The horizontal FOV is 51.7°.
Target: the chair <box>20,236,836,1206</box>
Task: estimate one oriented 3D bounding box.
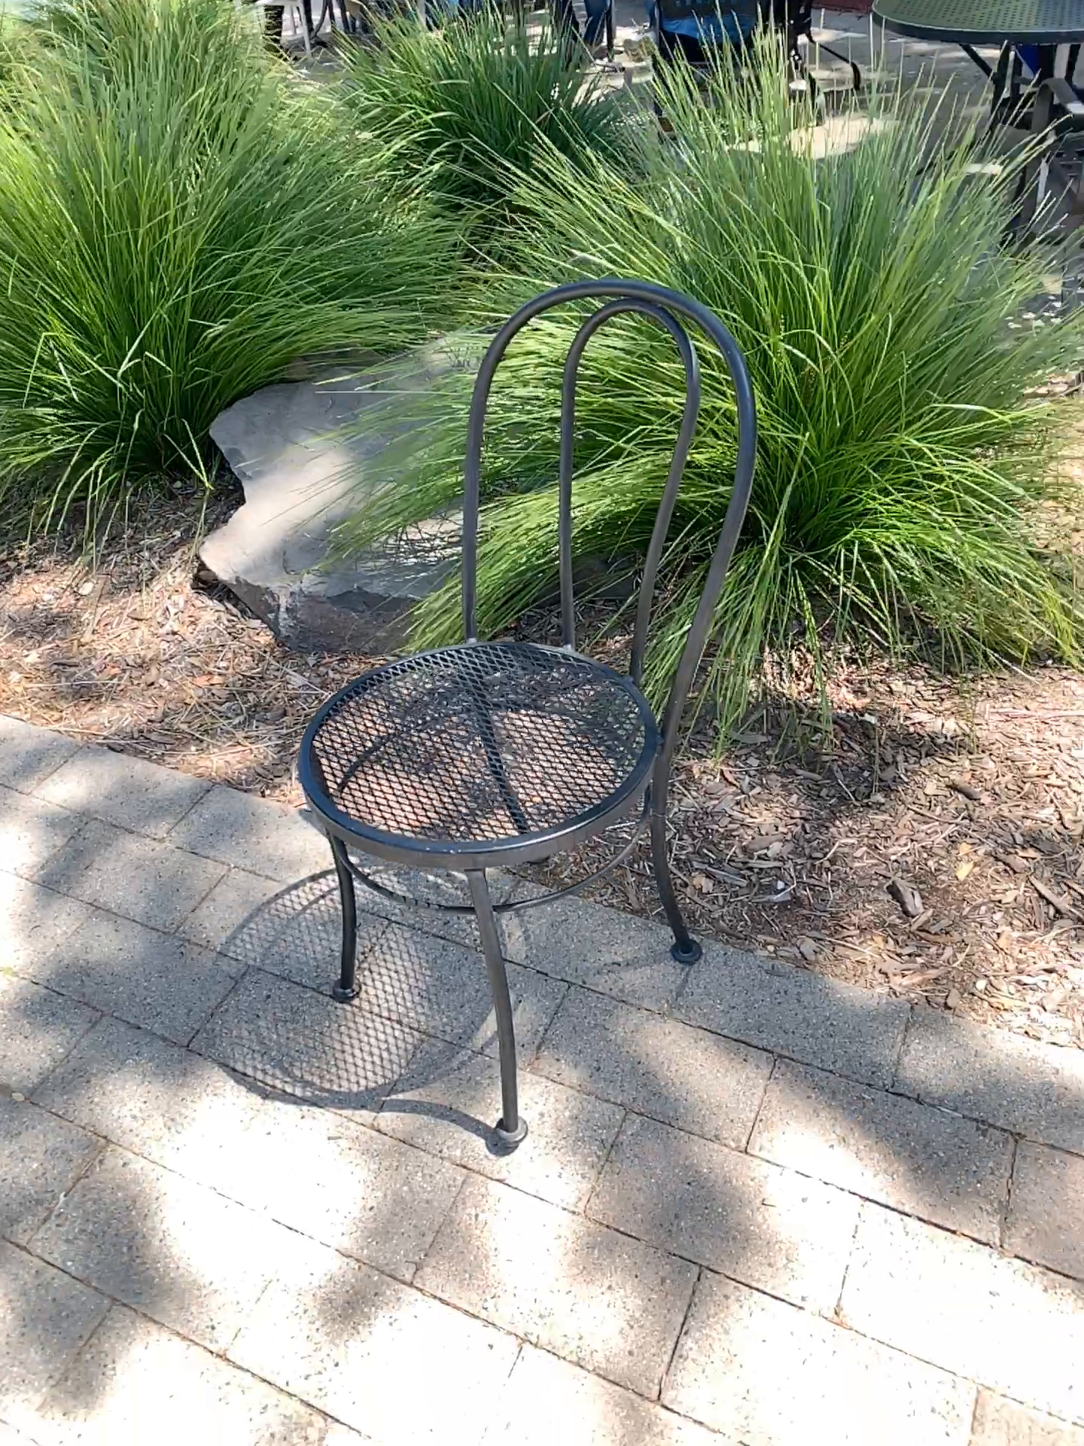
[{"bbox_3d":[-0.070,-0.014,1.228,0.473,0.788,0.538,28,49,33],"label":"chair"}]
